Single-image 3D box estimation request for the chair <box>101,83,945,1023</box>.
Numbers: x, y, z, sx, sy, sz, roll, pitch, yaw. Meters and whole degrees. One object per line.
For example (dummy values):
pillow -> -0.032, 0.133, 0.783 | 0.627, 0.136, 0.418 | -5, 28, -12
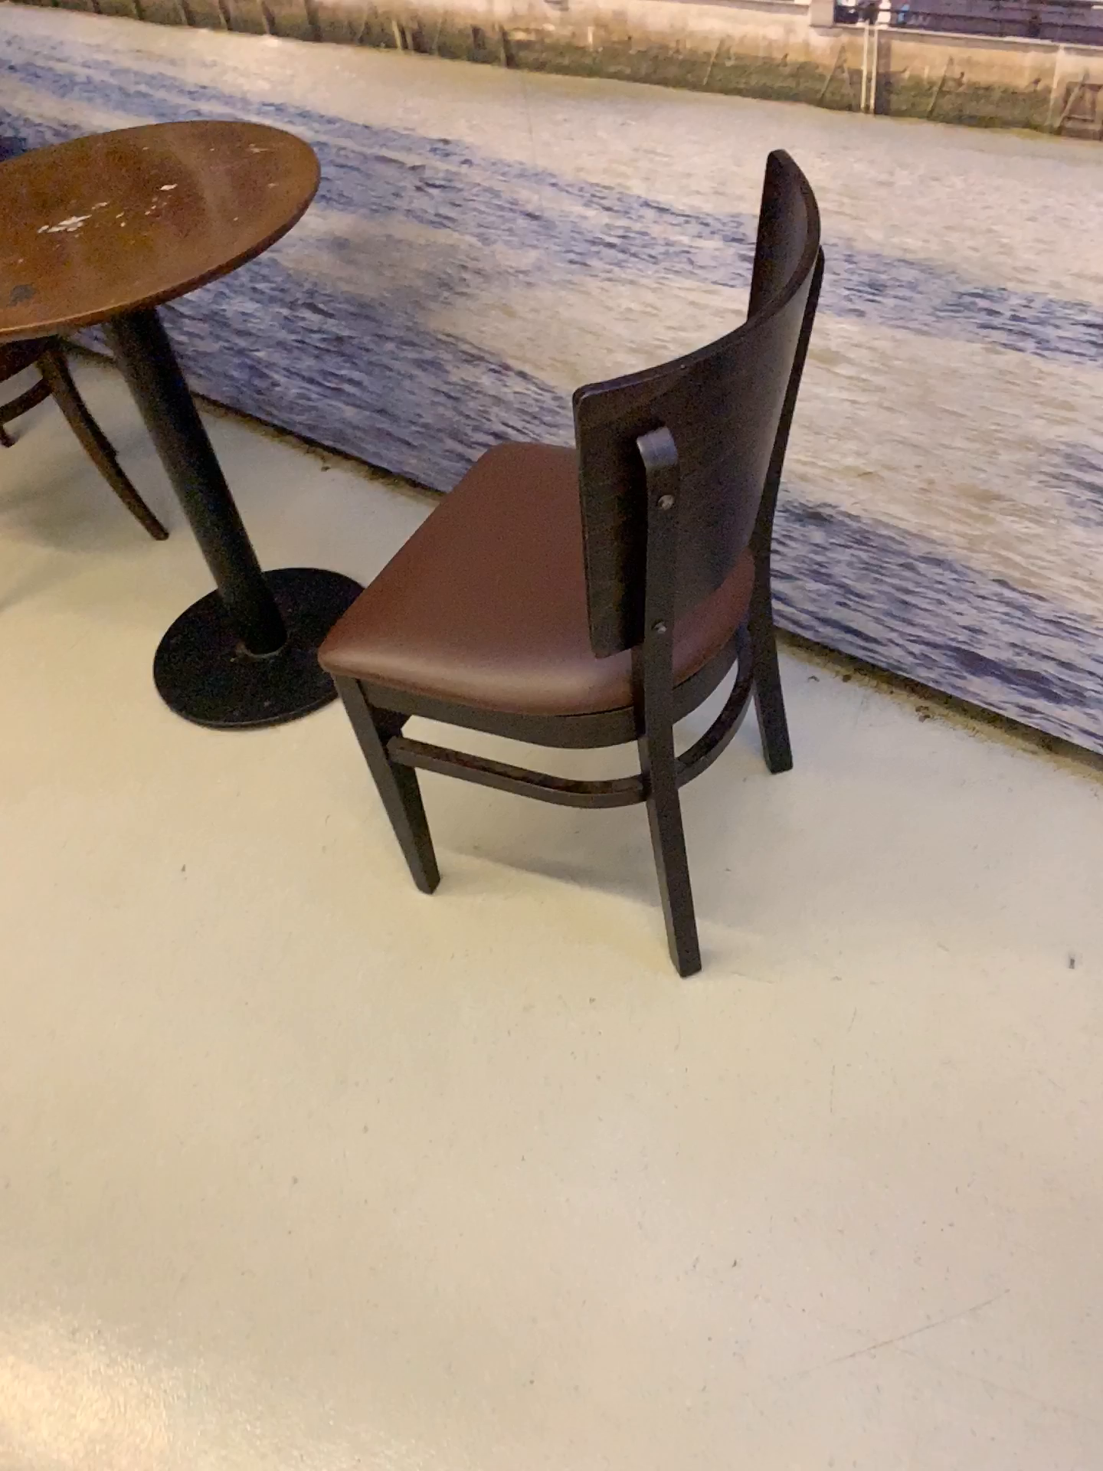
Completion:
chair -> 0.044, -0.202, 1.215 | 0.518, 0.729, 0.561 | 18, 52, 26
